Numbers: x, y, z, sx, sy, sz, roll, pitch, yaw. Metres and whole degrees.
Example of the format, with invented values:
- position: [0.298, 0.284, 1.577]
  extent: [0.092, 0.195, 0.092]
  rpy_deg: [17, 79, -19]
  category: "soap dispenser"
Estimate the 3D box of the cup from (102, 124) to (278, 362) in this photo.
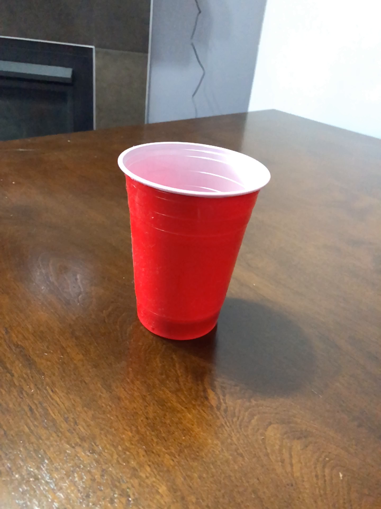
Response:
- position: [-0.002, -0.012, 0.285]
  extent: [0.090, 0.119, 0.090]
  rpy_deg: [5, 29, -3]
  category: "cup"
